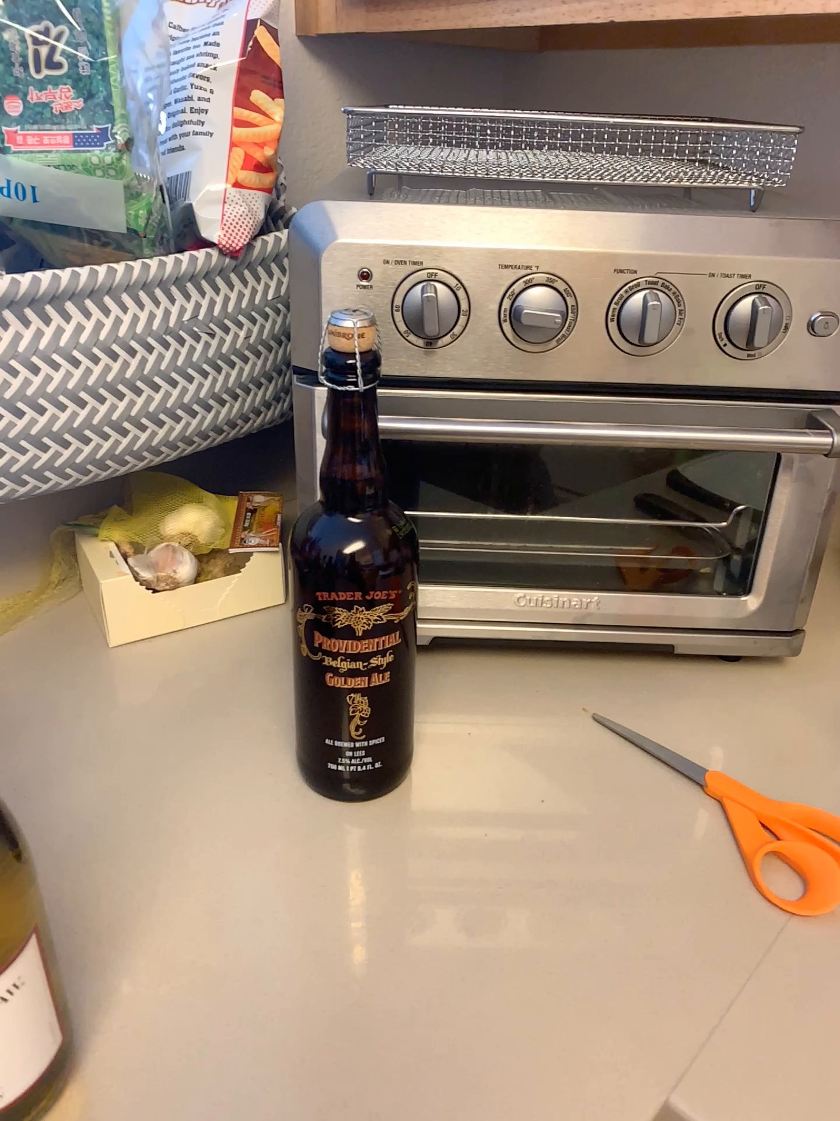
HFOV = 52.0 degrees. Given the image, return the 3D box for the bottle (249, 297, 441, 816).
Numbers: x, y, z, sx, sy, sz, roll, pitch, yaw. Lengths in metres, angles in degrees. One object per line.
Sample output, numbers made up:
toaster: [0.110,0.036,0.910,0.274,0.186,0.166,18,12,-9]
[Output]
bottle: [-0.043,0.006,0.507,0.090,0.298,0.080,-1,27,-6]
